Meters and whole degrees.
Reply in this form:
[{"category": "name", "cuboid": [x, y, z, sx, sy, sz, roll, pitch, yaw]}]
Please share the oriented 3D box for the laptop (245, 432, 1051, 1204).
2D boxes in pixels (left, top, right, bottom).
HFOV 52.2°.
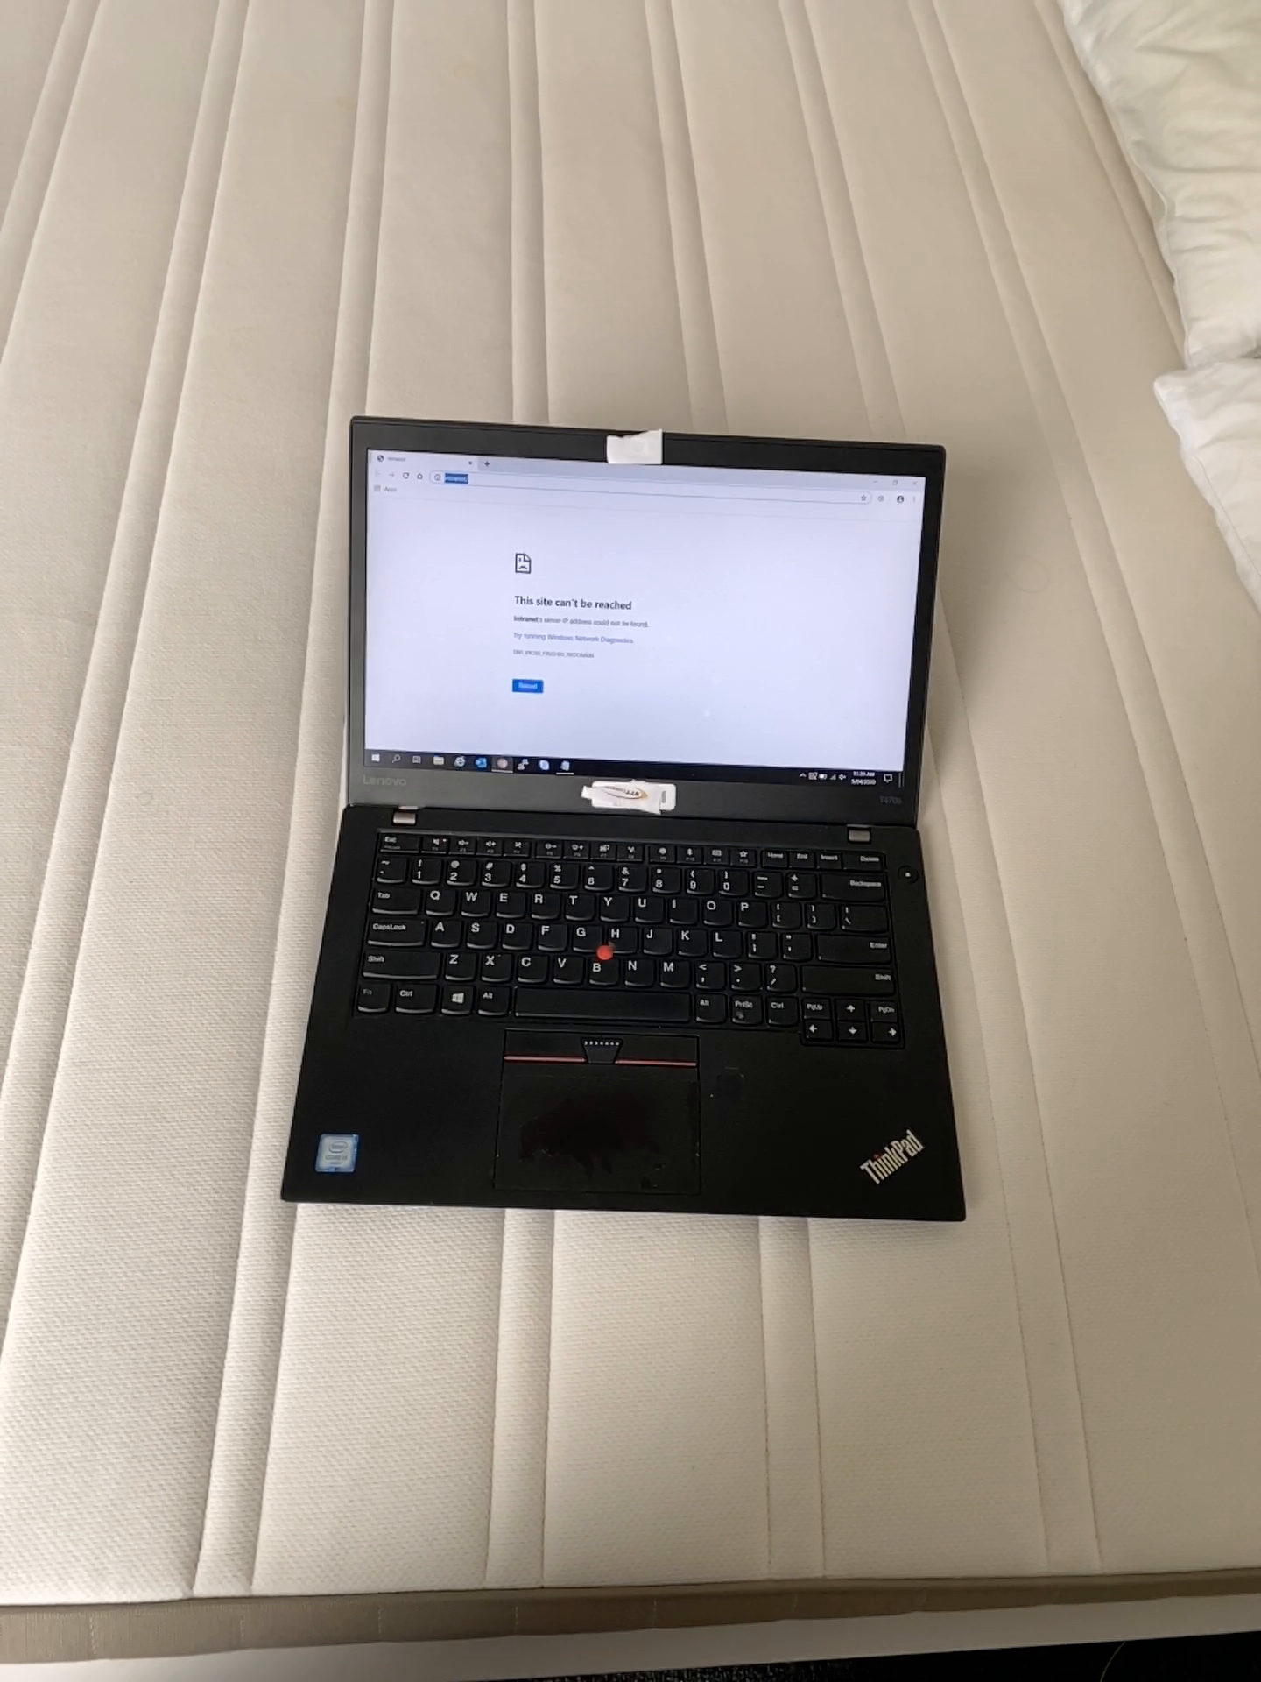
[{"category": "laptop", "cuboid": [0.008, -0.024, 0.662, 0.320, 0.120, 0.382, 3, 58, -4]}]
